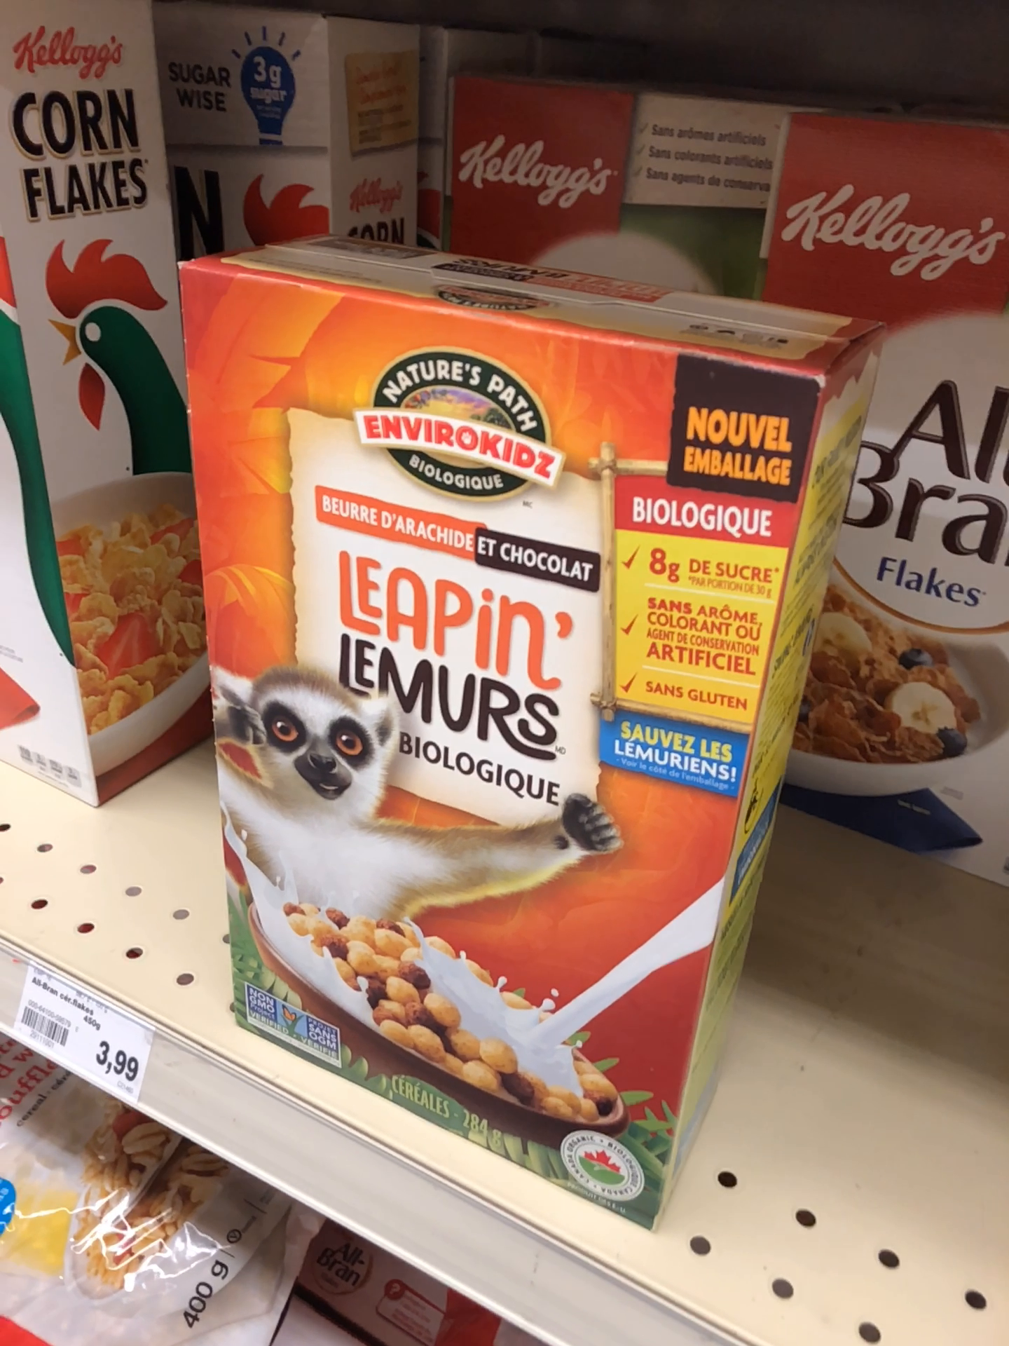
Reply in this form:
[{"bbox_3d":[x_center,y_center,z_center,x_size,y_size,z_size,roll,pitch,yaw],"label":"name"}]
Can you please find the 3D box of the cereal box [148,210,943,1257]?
[{"bbox_3d":[0.001,0.019,0.320,0.170,0.258,0.070,17,32,23],"label":"cereal box"}]
